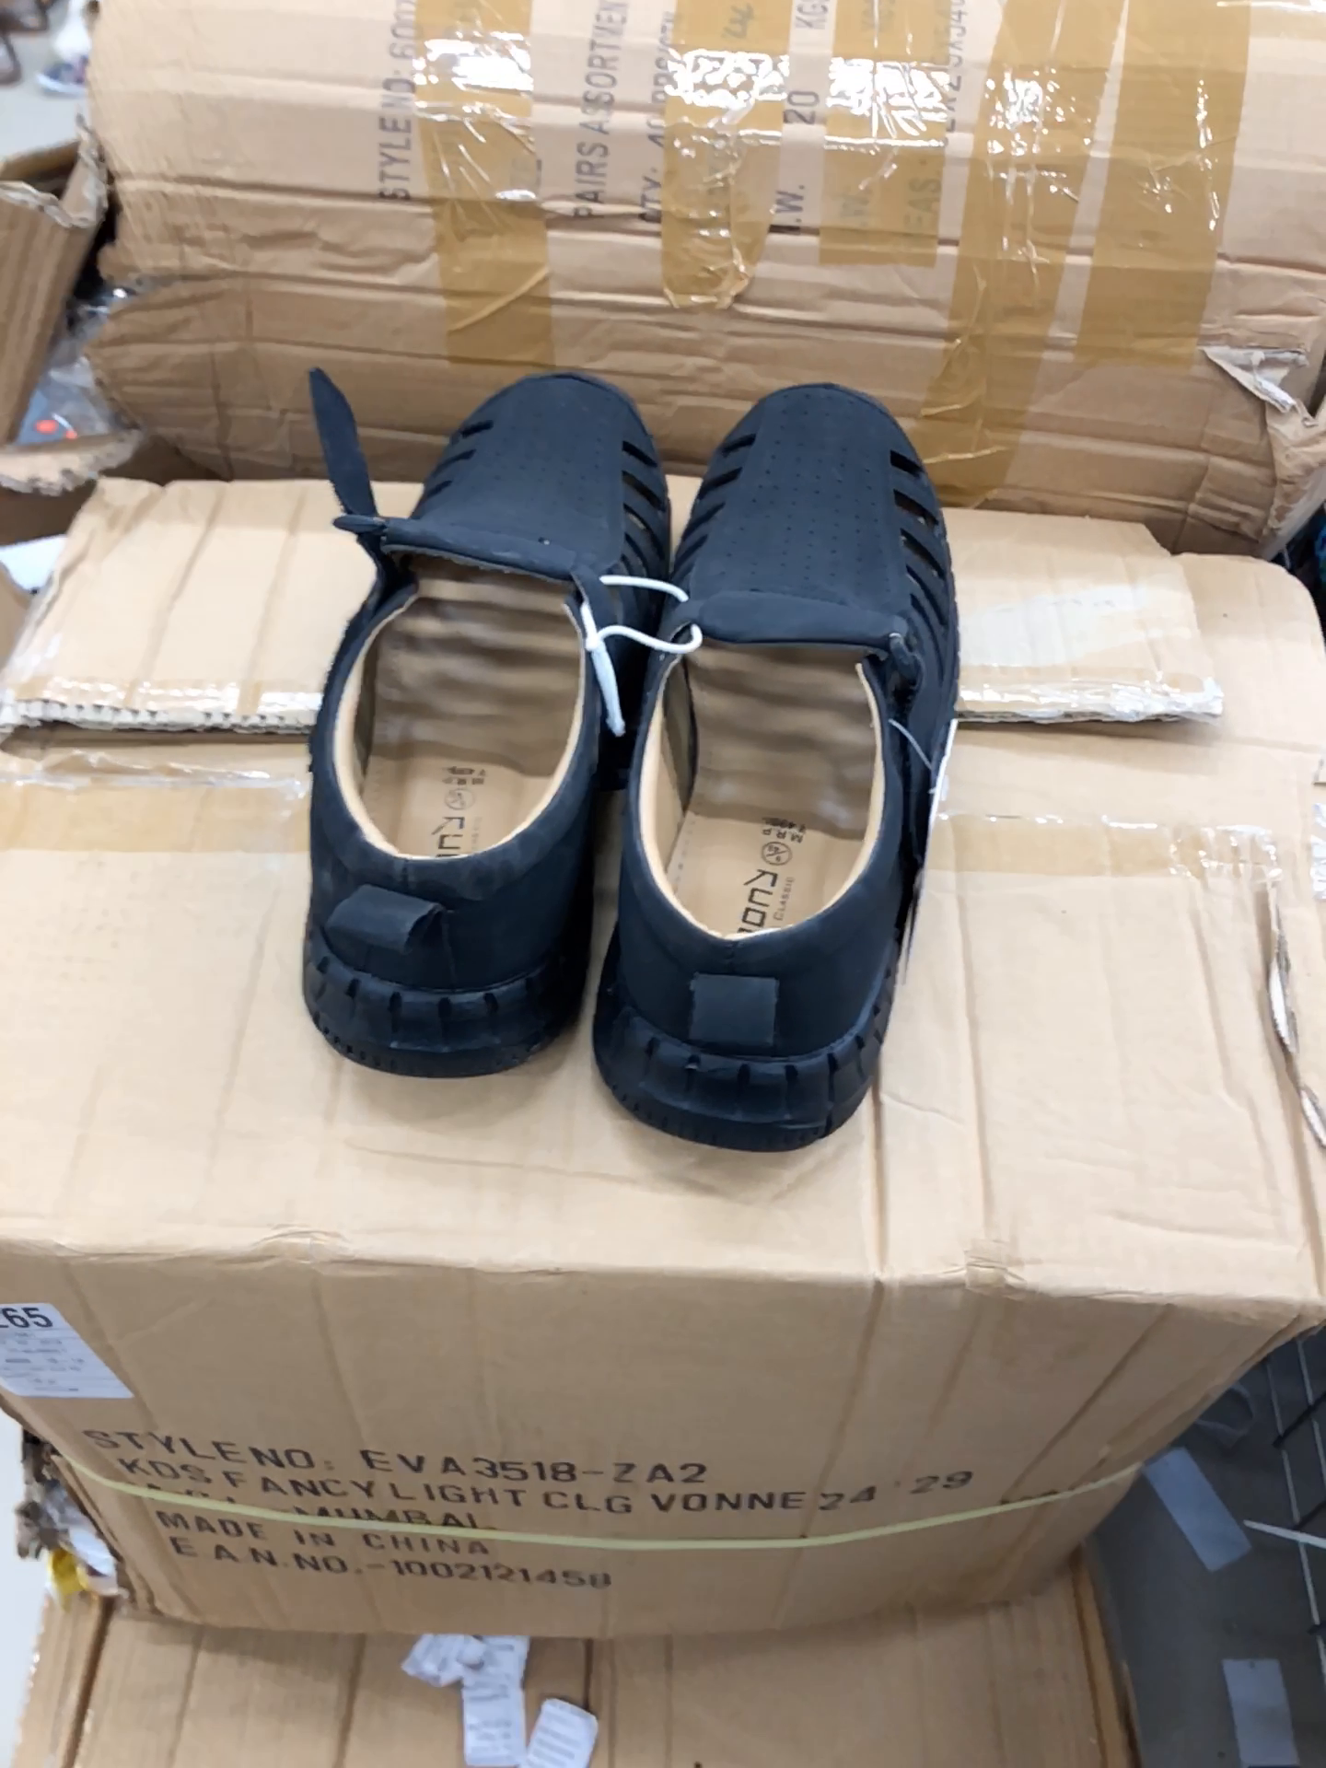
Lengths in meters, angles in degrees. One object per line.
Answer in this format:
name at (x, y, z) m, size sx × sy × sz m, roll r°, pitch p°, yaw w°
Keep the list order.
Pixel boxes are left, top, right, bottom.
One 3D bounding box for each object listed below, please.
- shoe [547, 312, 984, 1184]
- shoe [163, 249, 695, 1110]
shoe at (0.039, -0.058, 0.459) m, size 0.100 × 0.099 × 0.272 m, roll 7°, pitch 50°, yaw 3°
shoe at (-0.054, -0.080, 0.464) m, size 0.110 × 0.099 × 0.282 m, roll 4°, pitch 50°, yaw 0°
